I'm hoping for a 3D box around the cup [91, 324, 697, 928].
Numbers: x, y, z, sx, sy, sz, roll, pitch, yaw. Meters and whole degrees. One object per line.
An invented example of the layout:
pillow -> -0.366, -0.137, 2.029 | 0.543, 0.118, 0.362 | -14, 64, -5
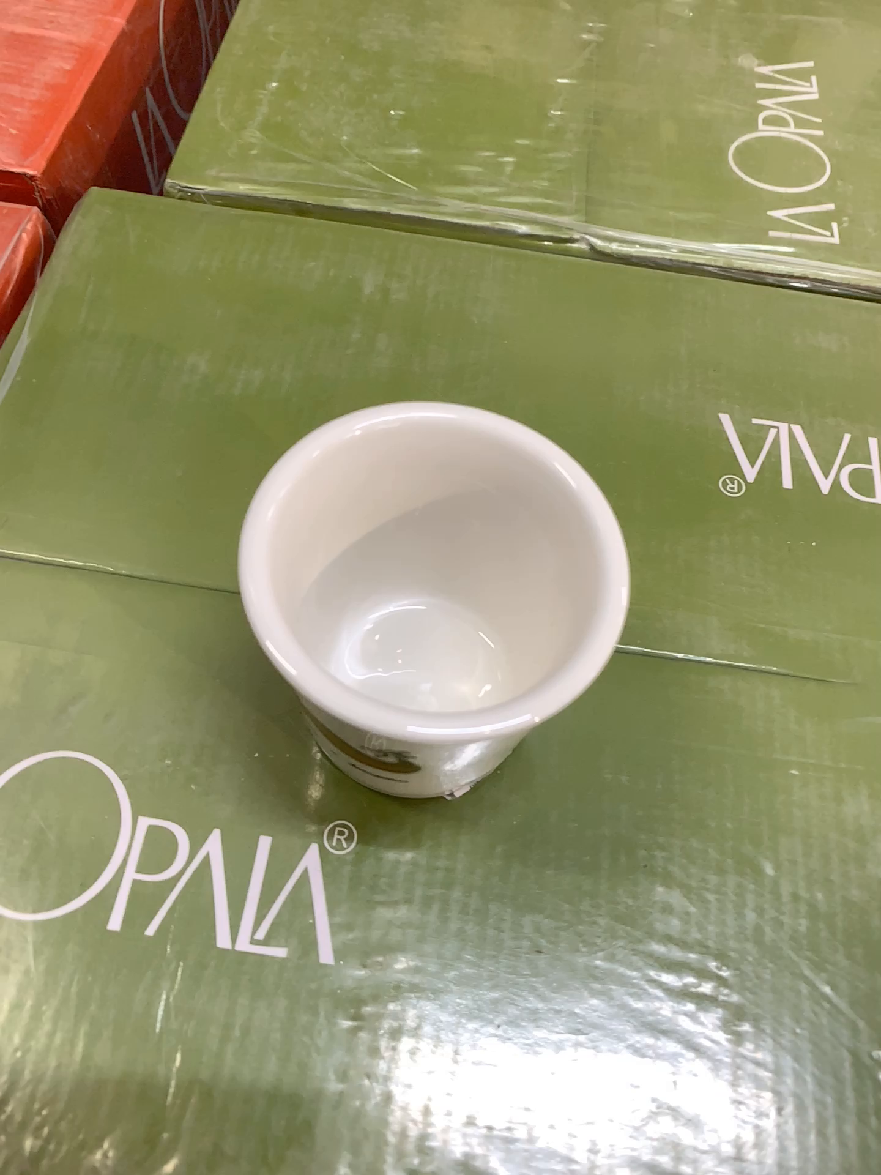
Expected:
cup -> -0.008, 0.008, 0.175 | 0.070, 0.060, 0.070 | 2, 59, -3
